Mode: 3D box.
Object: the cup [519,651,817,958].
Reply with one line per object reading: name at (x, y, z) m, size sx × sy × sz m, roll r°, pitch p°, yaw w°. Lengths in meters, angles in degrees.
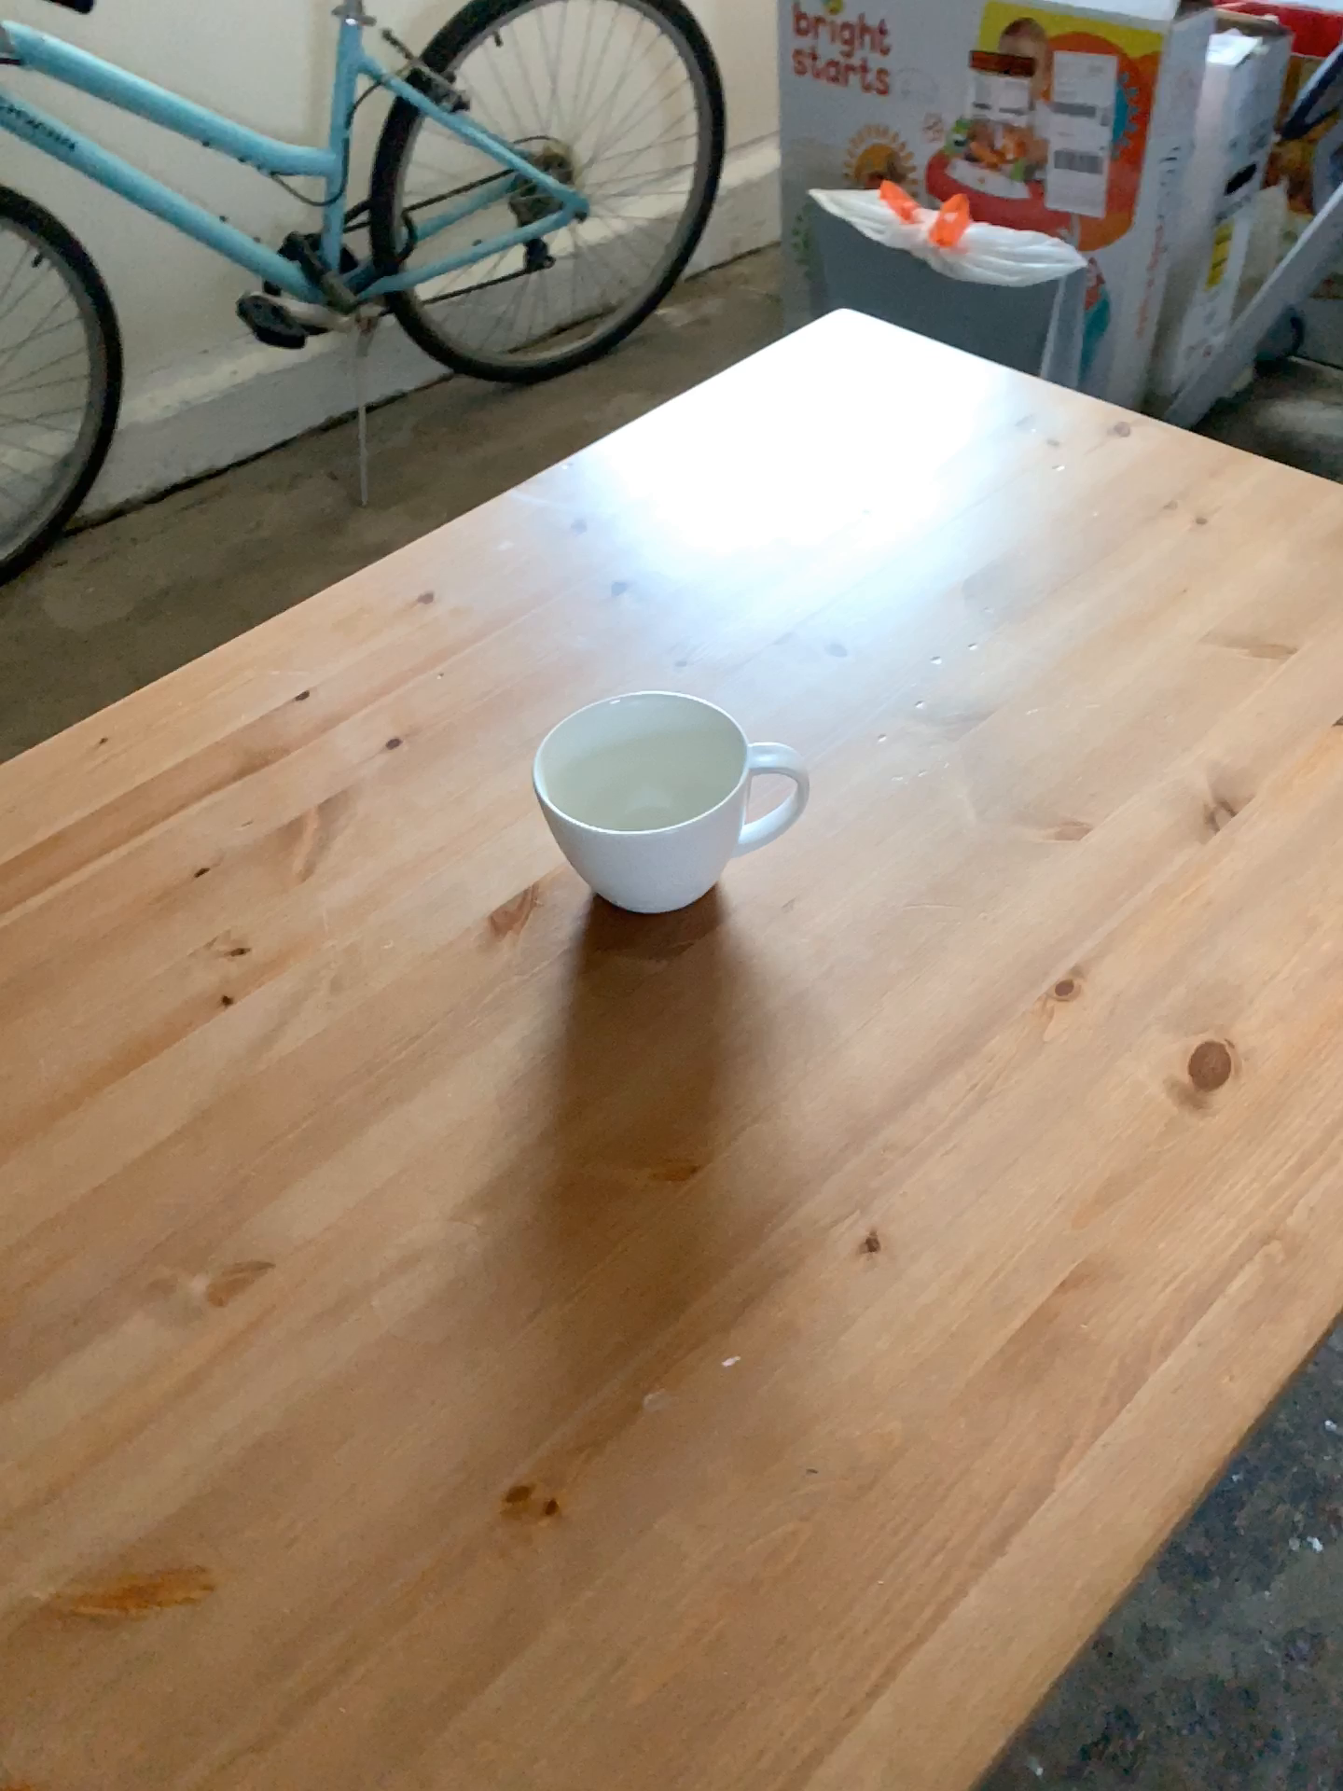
cup at (-0.001, -0.047, 0.705) m, size 0.130 × 0.100 × 0.090 m, roll -11°, pitch 47°, yaw -3°
